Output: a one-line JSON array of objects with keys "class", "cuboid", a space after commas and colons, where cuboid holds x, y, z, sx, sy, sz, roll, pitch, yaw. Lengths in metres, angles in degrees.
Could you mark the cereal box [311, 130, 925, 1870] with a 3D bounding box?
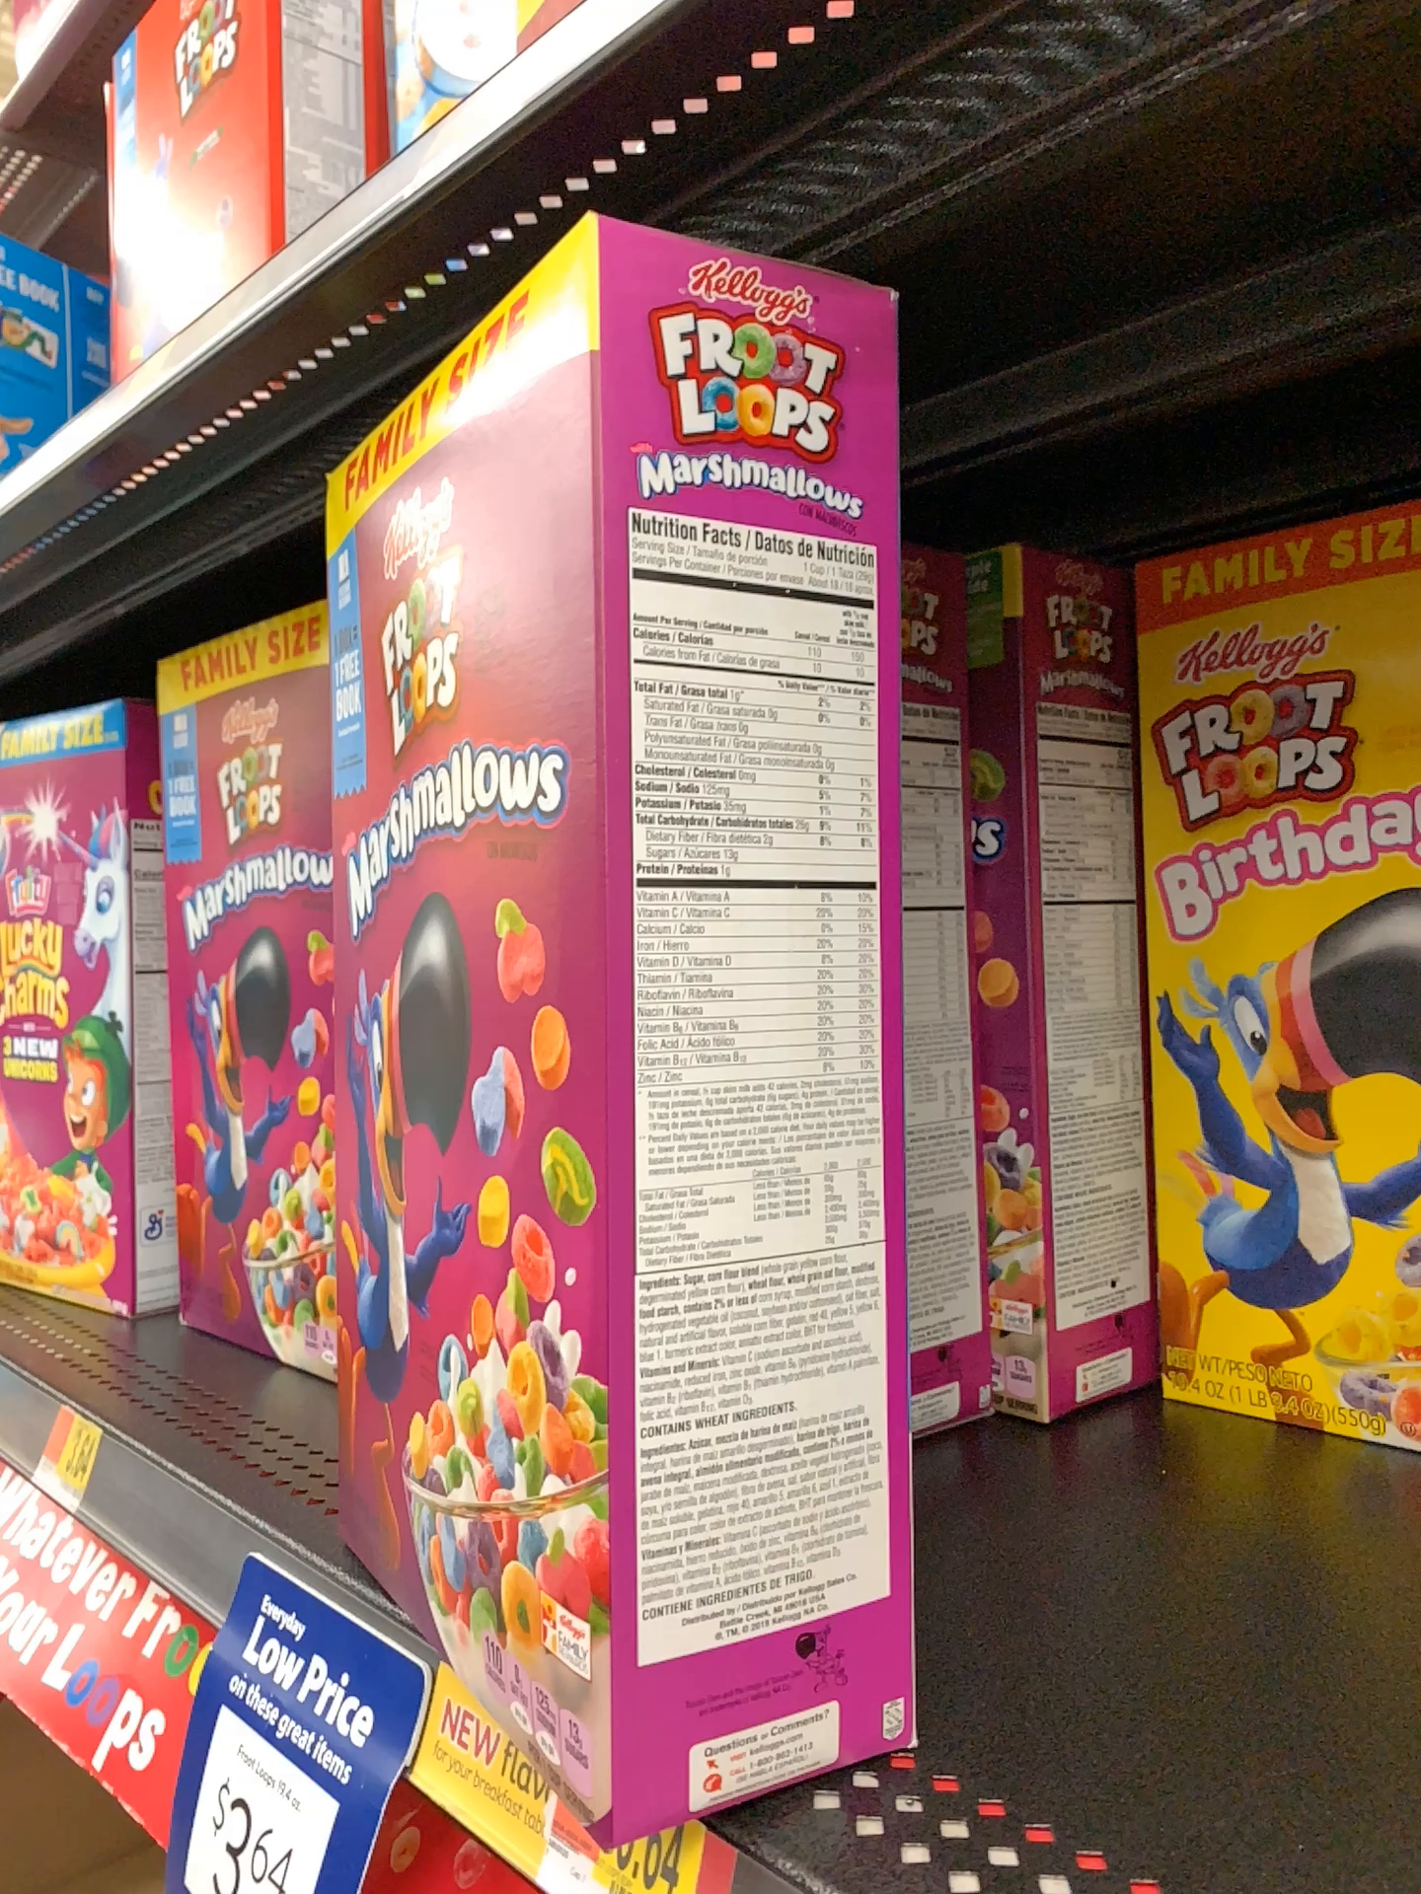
[{"class": "cereal box", "cuboid": [-0.039, 0.009, 0.394, 0.080, 0.340, 0.200, 0, -1, -30]}]
